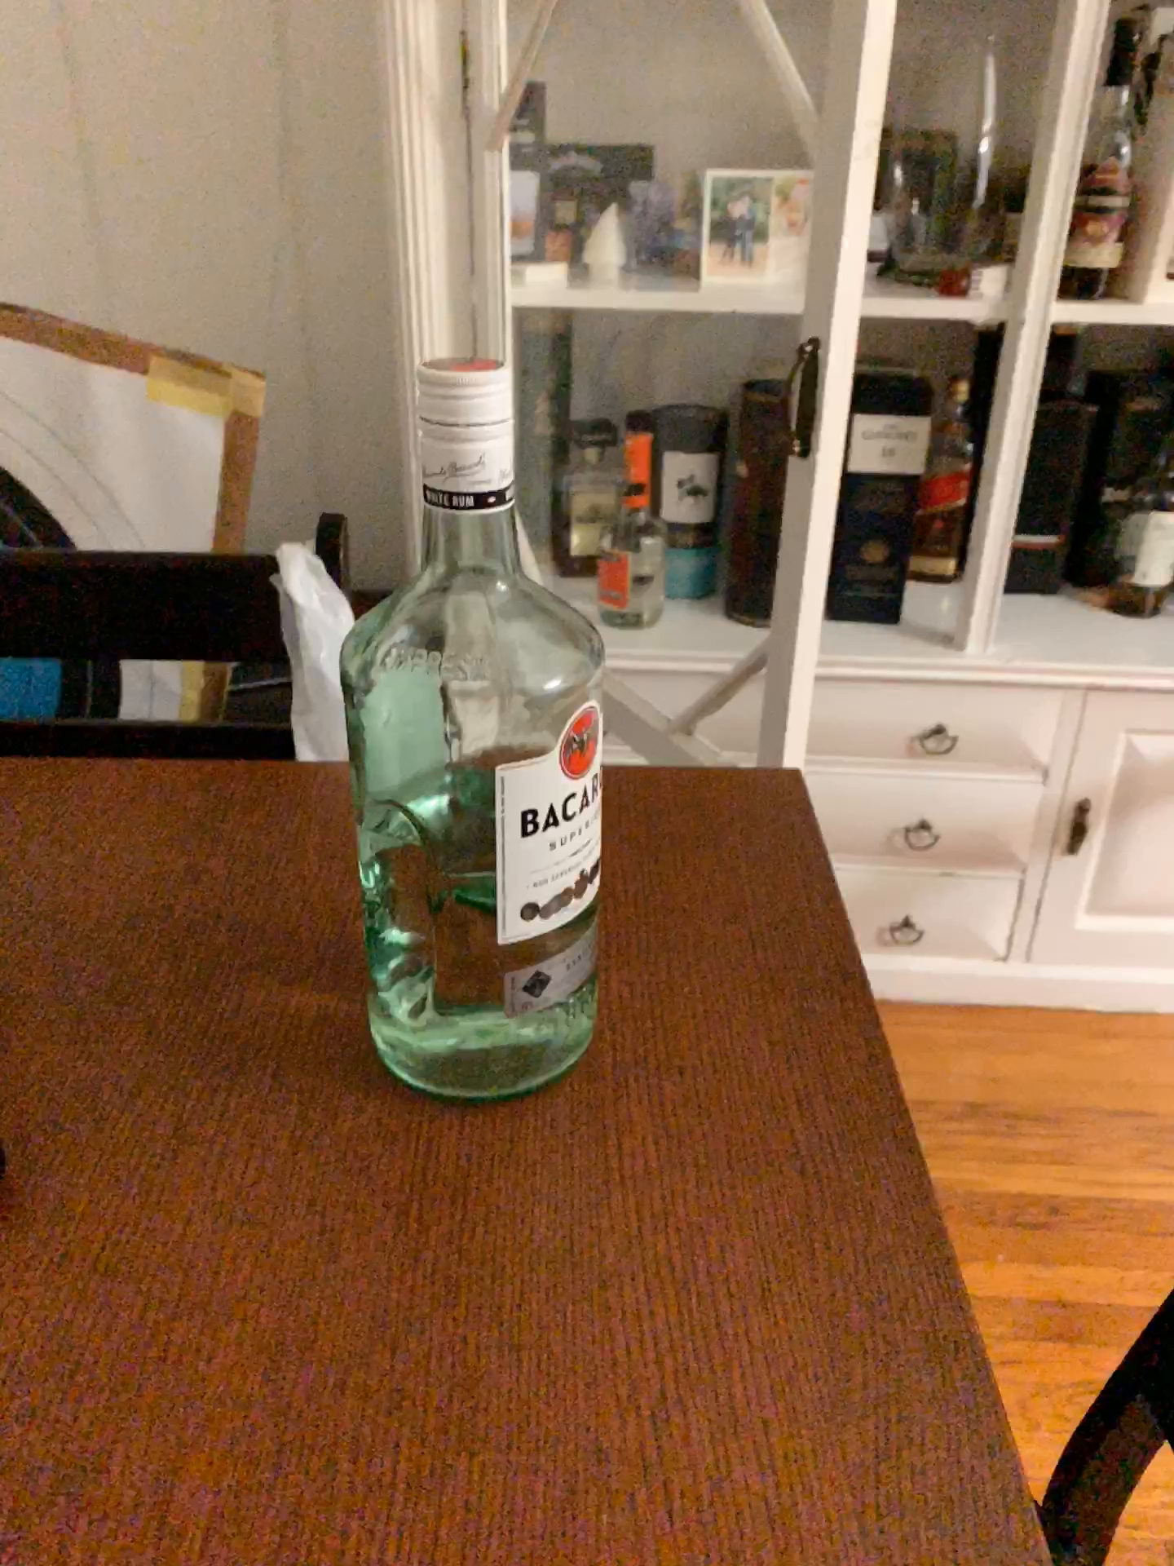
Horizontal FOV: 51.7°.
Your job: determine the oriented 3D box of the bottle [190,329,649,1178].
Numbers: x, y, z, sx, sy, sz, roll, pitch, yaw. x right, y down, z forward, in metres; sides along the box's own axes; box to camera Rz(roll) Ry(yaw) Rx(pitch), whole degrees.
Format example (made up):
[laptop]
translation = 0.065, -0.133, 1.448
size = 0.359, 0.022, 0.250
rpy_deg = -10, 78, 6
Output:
[bottle]
translation = -0.061, -0.010, 0.527
size = 0.120, 0.328, 0.120
rpy_deg = 1, 29, 0
